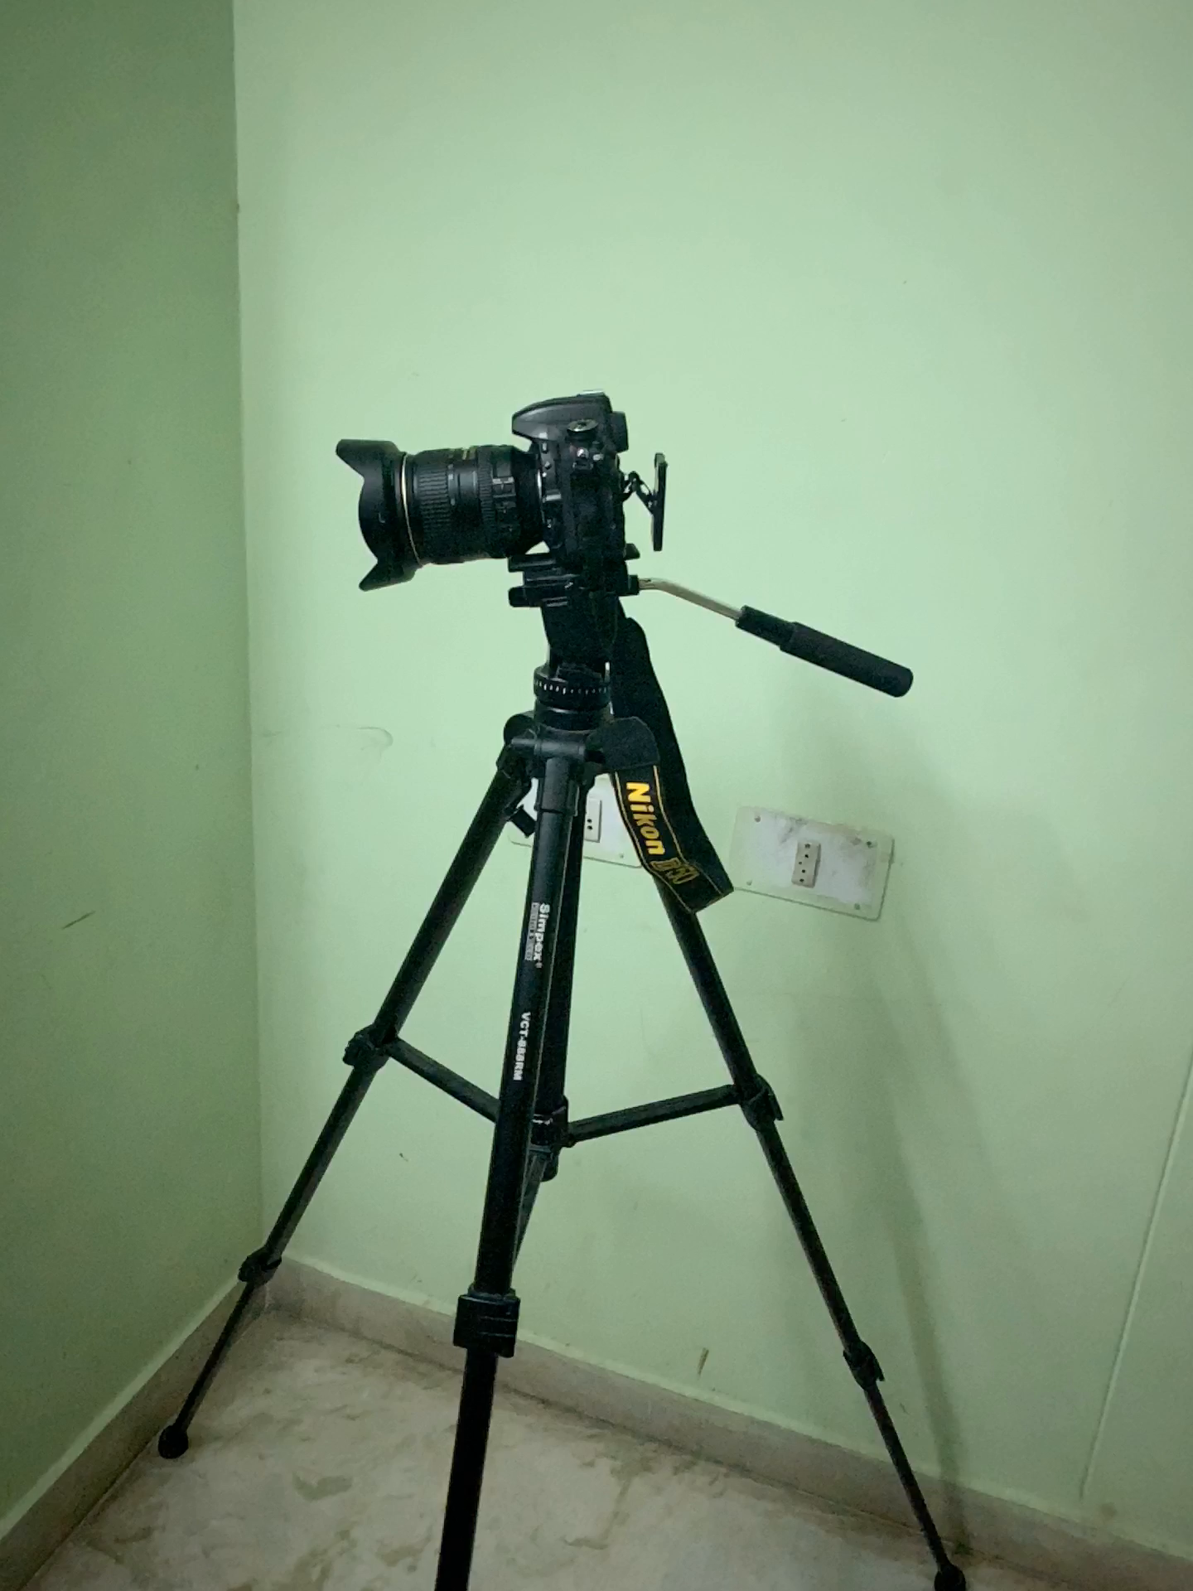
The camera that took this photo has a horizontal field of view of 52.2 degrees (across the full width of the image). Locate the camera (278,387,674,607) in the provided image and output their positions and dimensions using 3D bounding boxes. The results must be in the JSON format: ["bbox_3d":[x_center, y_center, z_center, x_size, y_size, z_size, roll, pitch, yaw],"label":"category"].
[{"bbox_3d":[-0.092,-0.235,0.930,0.267,0.127,0.161,-7,20,-8],"label":"camera"}]
